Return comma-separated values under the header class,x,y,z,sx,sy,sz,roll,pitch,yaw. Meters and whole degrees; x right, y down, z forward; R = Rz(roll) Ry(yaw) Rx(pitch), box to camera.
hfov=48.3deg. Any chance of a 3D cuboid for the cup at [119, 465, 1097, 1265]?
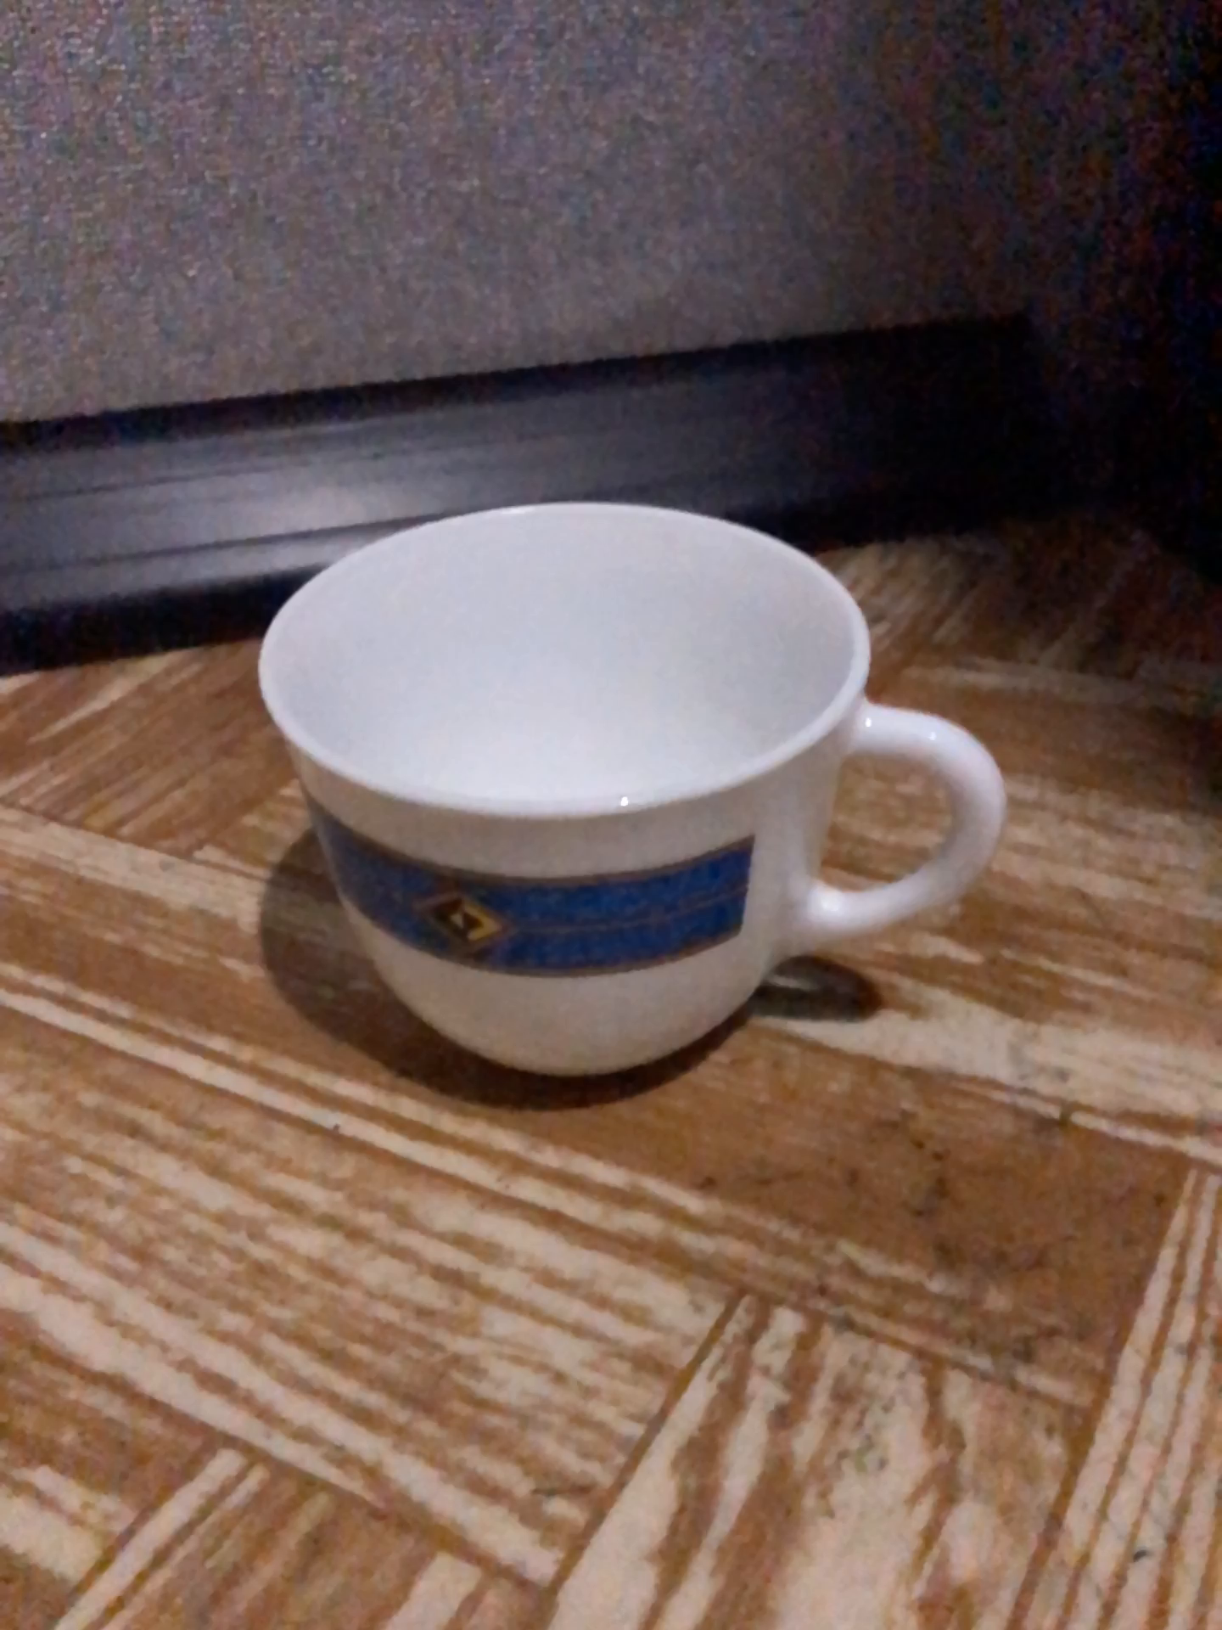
class,x,y,z,sx,sy,sz,roll,pitch,yaw
cup,0.006,0.000,0.202,0.110,0.062,0.088,8,38,11
